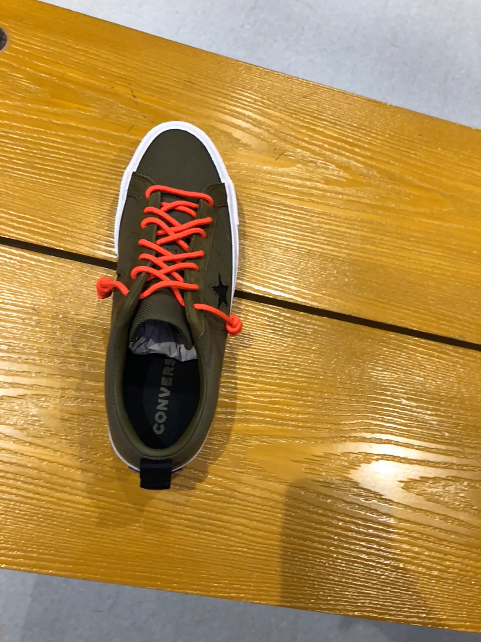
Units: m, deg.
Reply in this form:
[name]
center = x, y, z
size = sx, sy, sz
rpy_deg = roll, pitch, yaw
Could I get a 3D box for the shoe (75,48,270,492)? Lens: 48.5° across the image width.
[shoe]
center = -0.045, -0.033, 0.392
size = 0.105, 0.097, 0.293
rpy_deg = 5, 75, -10
